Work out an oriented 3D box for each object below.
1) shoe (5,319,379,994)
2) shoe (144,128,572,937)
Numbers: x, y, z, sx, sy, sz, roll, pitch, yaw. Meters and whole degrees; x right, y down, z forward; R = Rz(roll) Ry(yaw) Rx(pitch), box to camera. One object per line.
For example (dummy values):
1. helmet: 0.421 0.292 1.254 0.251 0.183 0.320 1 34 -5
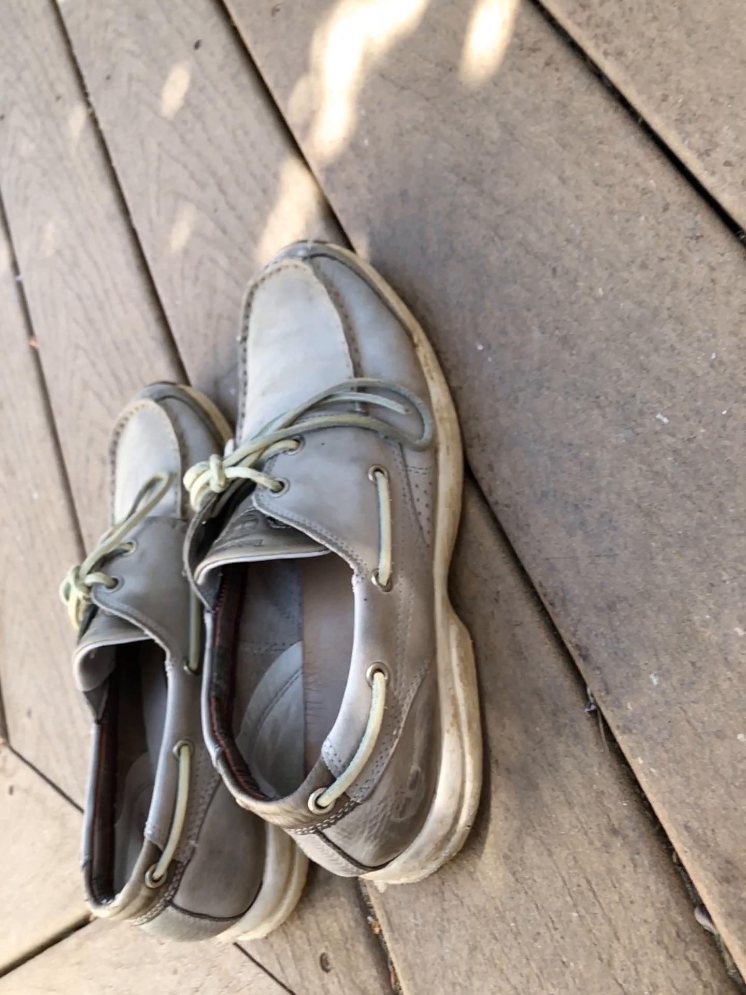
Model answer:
1. shoe: -0.111 0.075 0.443 0.119 0.095 0.310 -34 60 32
2. shoe: -0.020 0.015 0.375 0.122 0.097 0.312 -23 66 36
